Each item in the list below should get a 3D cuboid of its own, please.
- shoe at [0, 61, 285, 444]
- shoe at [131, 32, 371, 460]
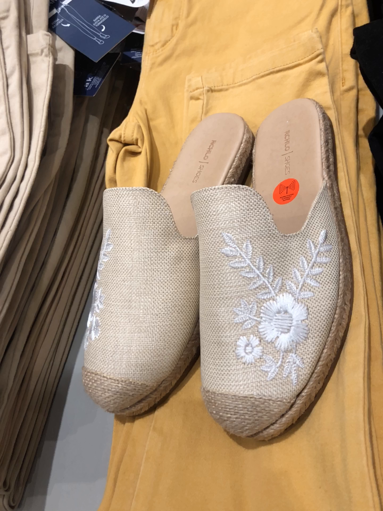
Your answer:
[{"bbox_3d":[-0.023,-0.016,0.293,0.090,0.070,0.240,8,63,35],"label":"shoe"},{"bbox_3d":[0.053,-0.018,0.263,0.090,0.070,0.241,-2,59,30],"label":"shoe"}]
